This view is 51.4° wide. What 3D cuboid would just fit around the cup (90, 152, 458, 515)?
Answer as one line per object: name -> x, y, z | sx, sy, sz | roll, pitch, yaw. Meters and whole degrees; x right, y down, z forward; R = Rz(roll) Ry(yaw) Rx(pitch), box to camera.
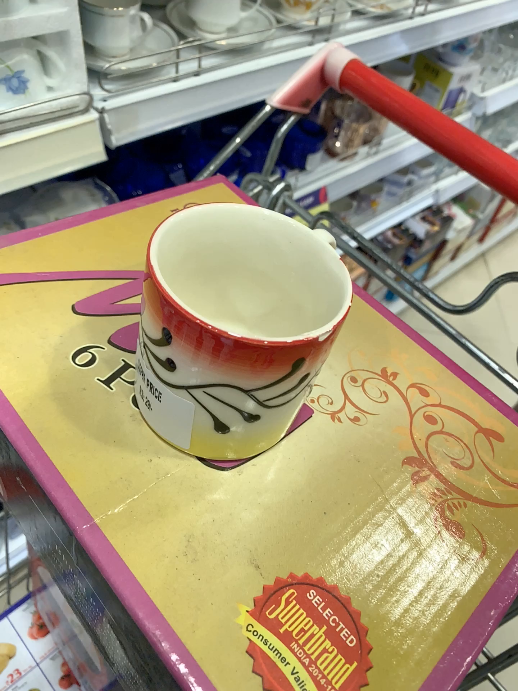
cup -> 0.005, -0.012, 0.211 | 0.080, 0.070, 0.110 | 39, 48, 19
